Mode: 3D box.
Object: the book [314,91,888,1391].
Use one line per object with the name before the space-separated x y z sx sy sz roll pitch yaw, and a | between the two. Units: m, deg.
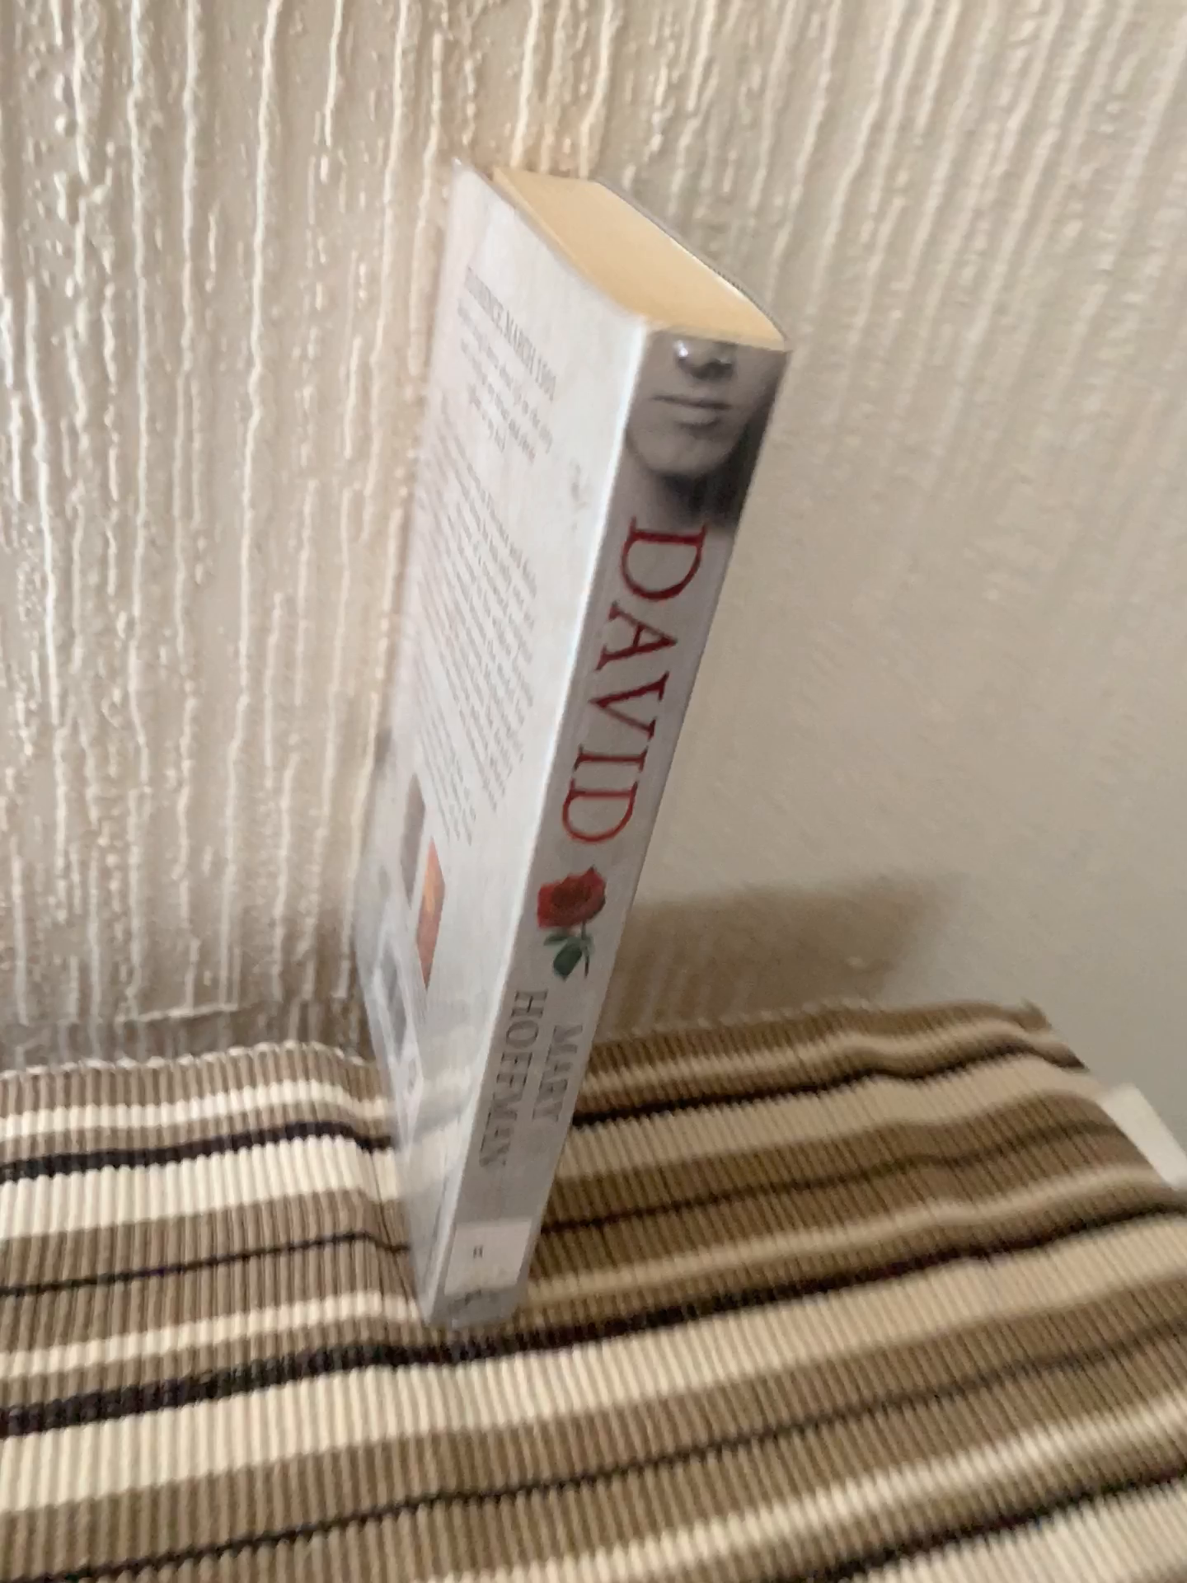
book | -0.026 -0.015 0.268 0.040 0.218 0.172 2 34 -18
